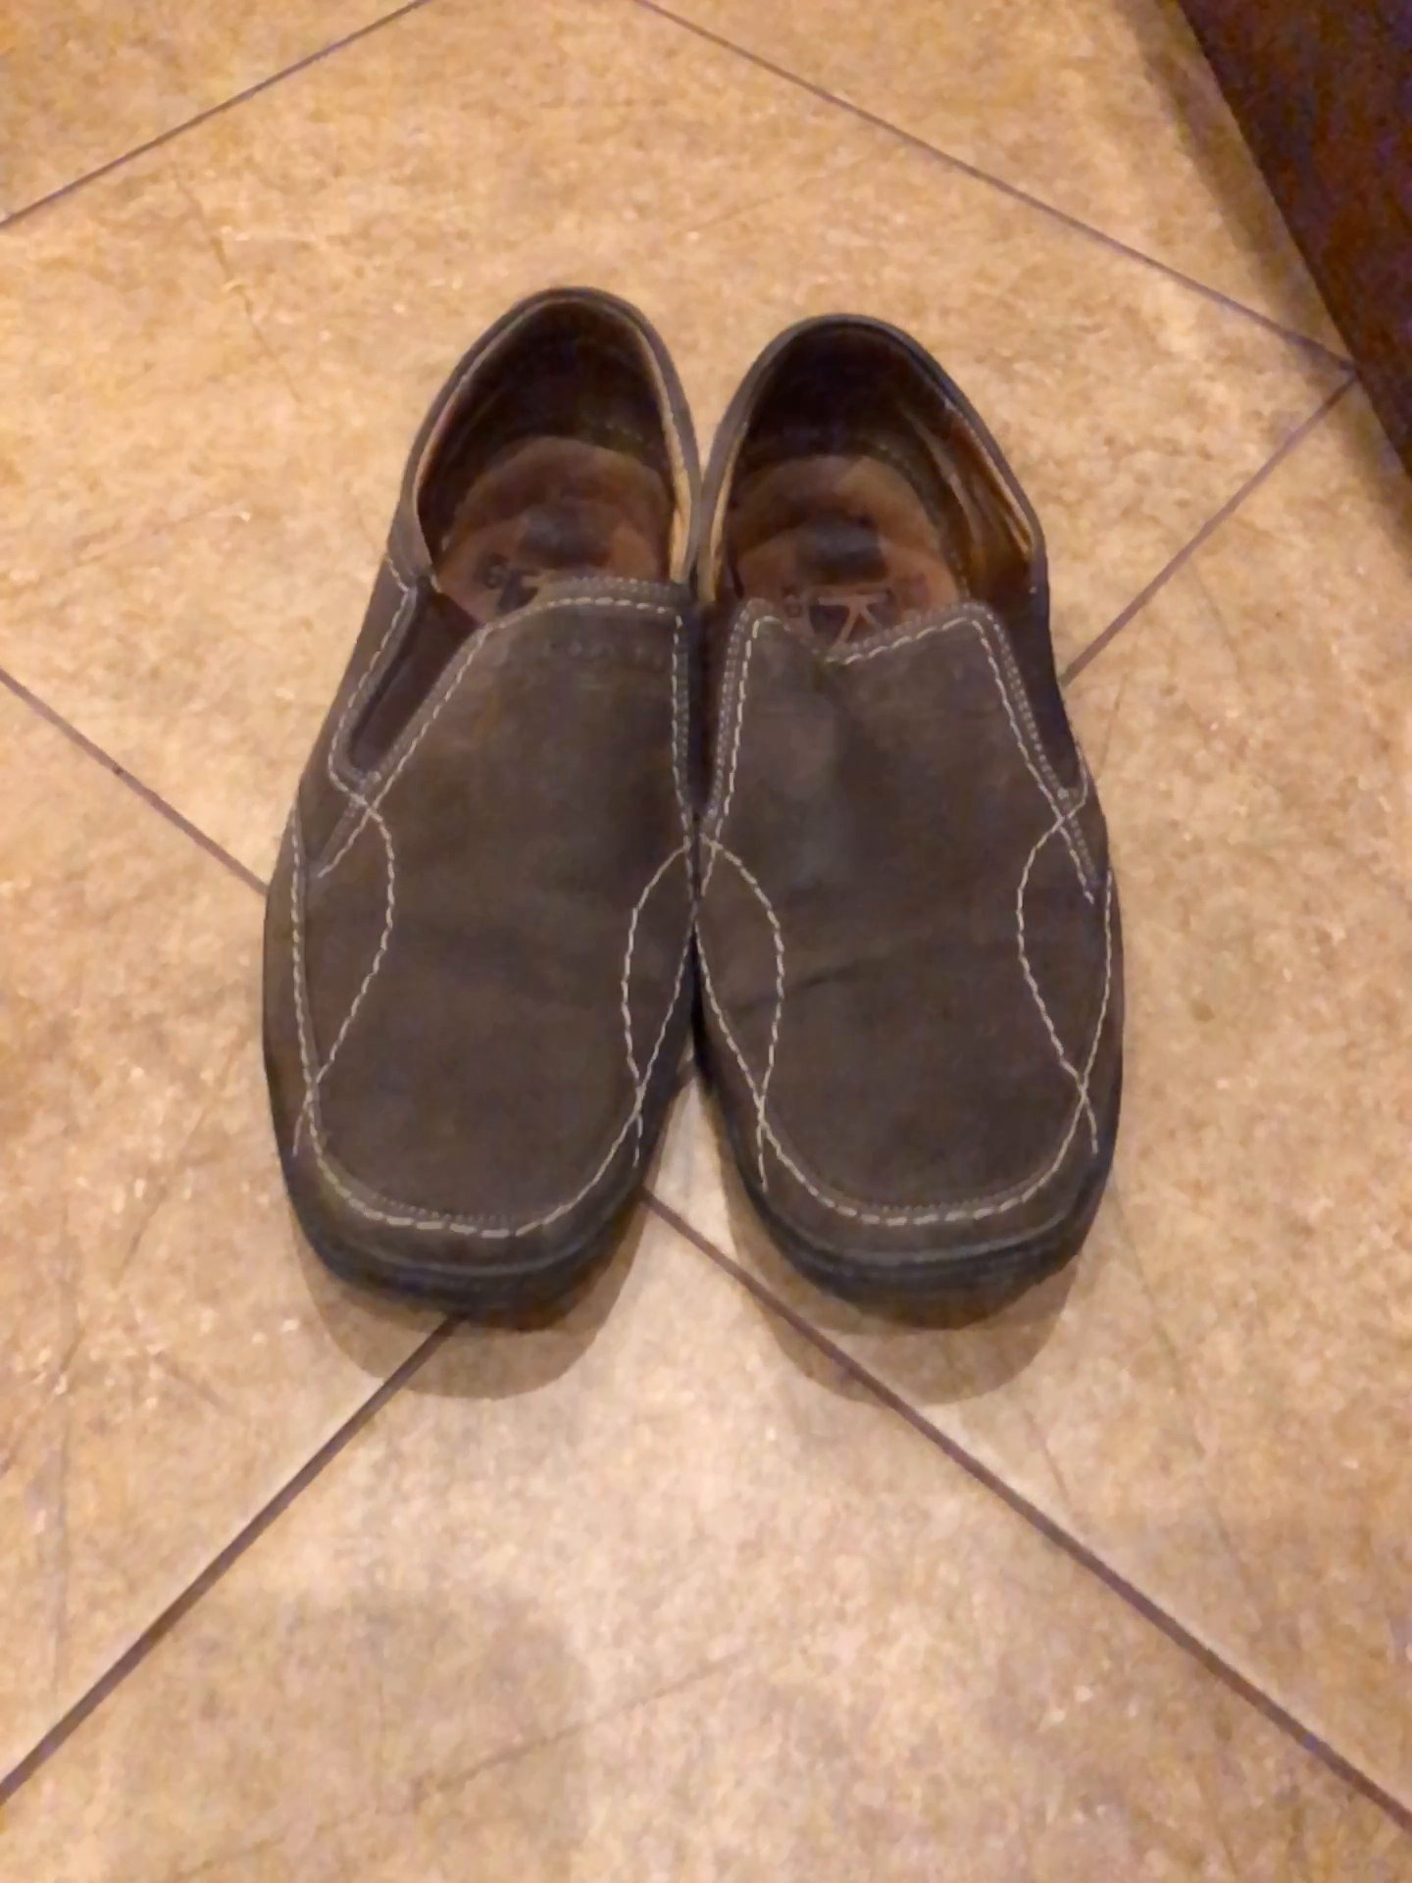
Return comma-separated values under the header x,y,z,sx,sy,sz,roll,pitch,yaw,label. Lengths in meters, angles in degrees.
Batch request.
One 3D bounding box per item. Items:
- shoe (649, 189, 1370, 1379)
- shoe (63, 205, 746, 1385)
x,y,z,sx,sy,sz,roll,pitch,yaw,label
0.049,-0.056,0.389,0.120,0.090,0.302,-1,58,-3,shoe
-0.054,-0.052,0.394,0.120,0.090,0.302,1,58,-2,shoe
